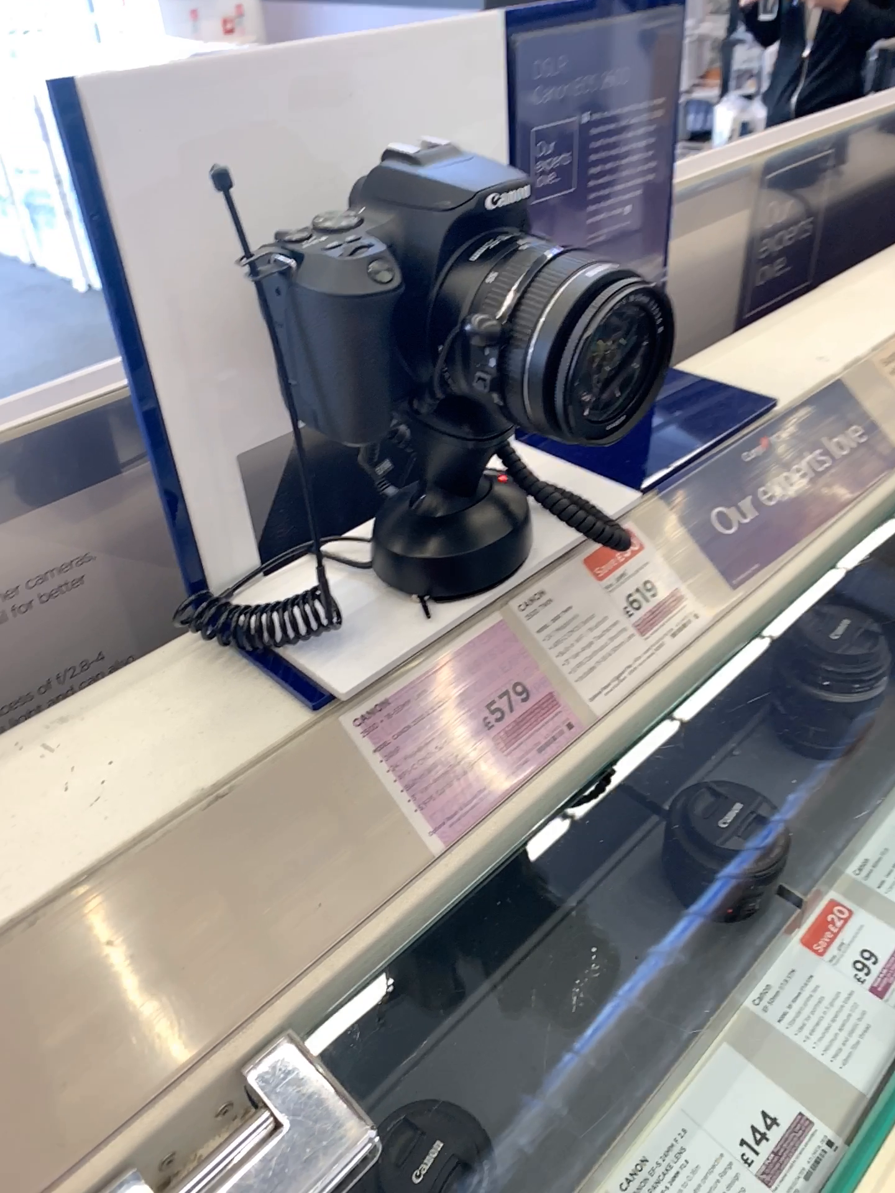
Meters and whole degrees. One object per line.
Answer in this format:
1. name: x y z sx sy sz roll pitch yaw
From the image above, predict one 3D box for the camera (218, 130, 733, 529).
1. camera: 0.010 -0.114 0.355 0.141 0.089 0.121 28 47 35
